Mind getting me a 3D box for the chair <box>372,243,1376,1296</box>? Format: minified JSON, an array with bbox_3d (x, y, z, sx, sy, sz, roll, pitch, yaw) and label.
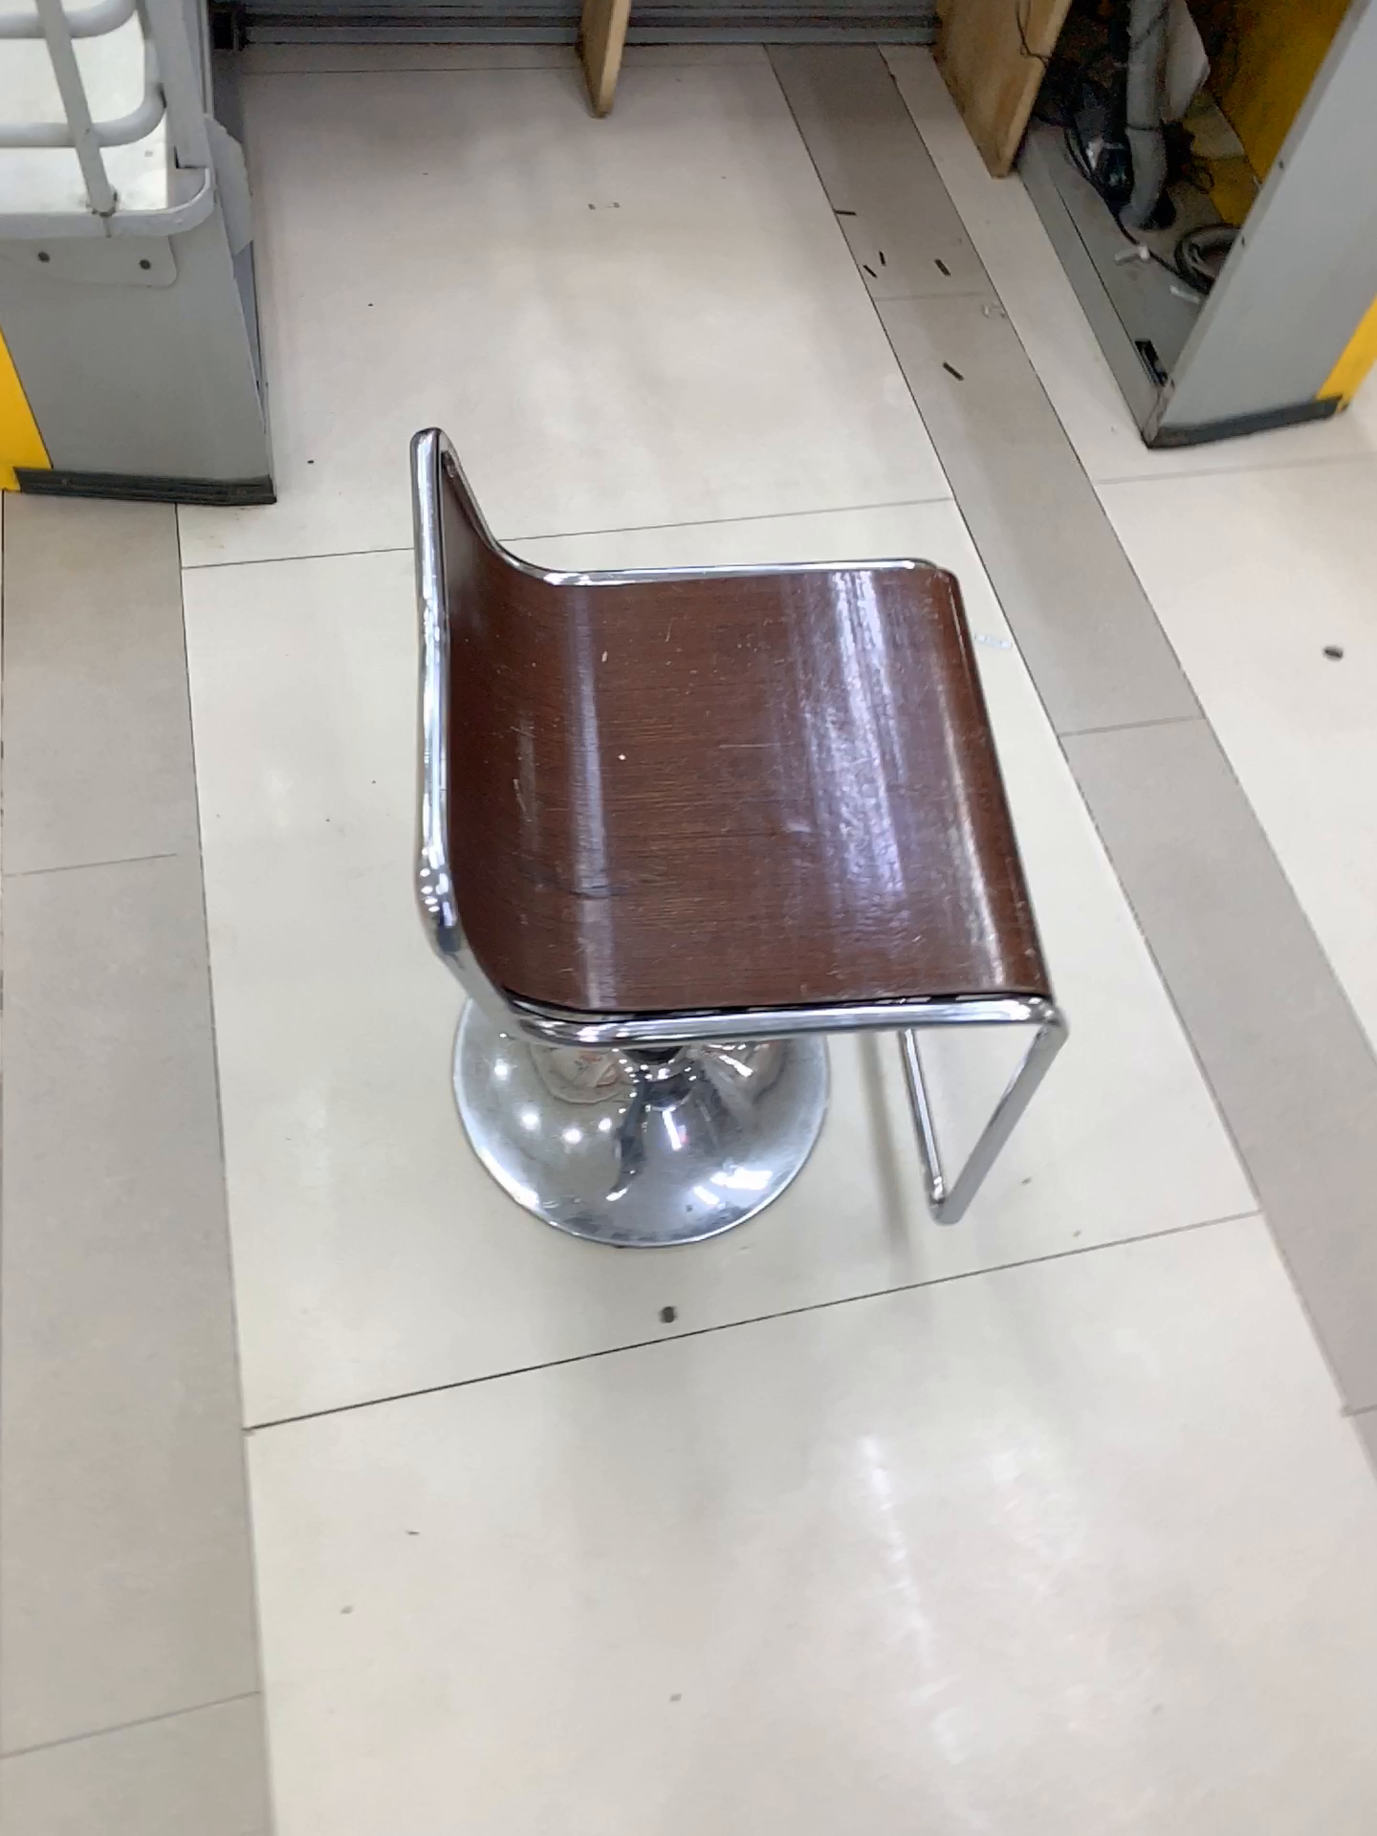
[{"bbox_3d":[0.037,-0.043,1.059,0.480,0.706,0.442,-2,61,-8],"label":"chair"}]
